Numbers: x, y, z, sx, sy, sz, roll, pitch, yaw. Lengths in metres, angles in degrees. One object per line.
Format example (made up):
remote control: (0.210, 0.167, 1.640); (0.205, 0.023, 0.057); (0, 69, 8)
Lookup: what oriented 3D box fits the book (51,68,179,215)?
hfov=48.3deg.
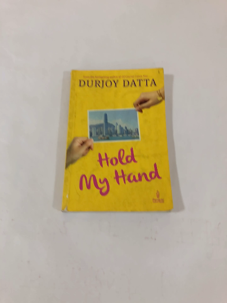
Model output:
book: (0.002, -0.019, 0.318); (0.140, 0.020, 0.190); (0, 70, 0)
